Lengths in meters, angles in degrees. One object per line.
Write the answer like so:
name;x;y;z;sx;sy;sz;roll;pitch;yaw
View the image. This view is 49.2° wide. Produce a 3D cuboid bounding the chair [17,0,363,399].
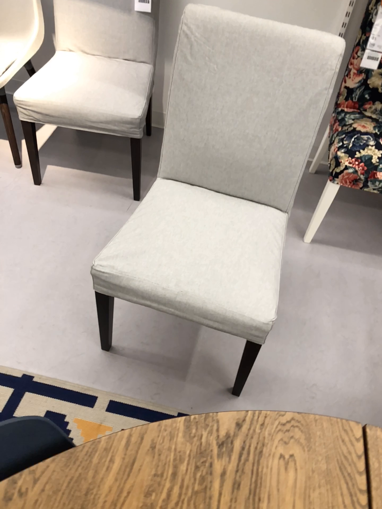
chair;0.029;-0.153;1.180;0.560;0.855;0.644;16;48;7
